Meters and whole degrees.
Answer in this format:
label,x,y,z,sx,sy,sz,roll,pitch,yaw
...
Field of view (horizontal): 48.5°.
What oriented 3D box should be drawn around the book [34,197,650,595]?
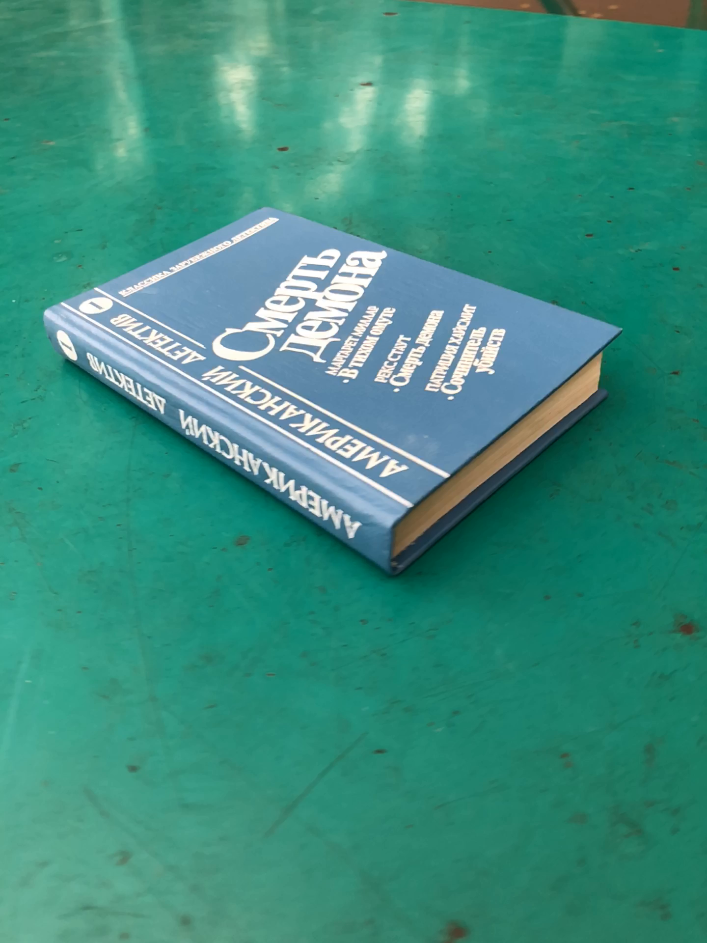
label,x,y,z,sx,sy,sz,roll,pitch,yaw
book,-0.012,-0.054,0.329,0.212,0.034,0.142,29,51,34
